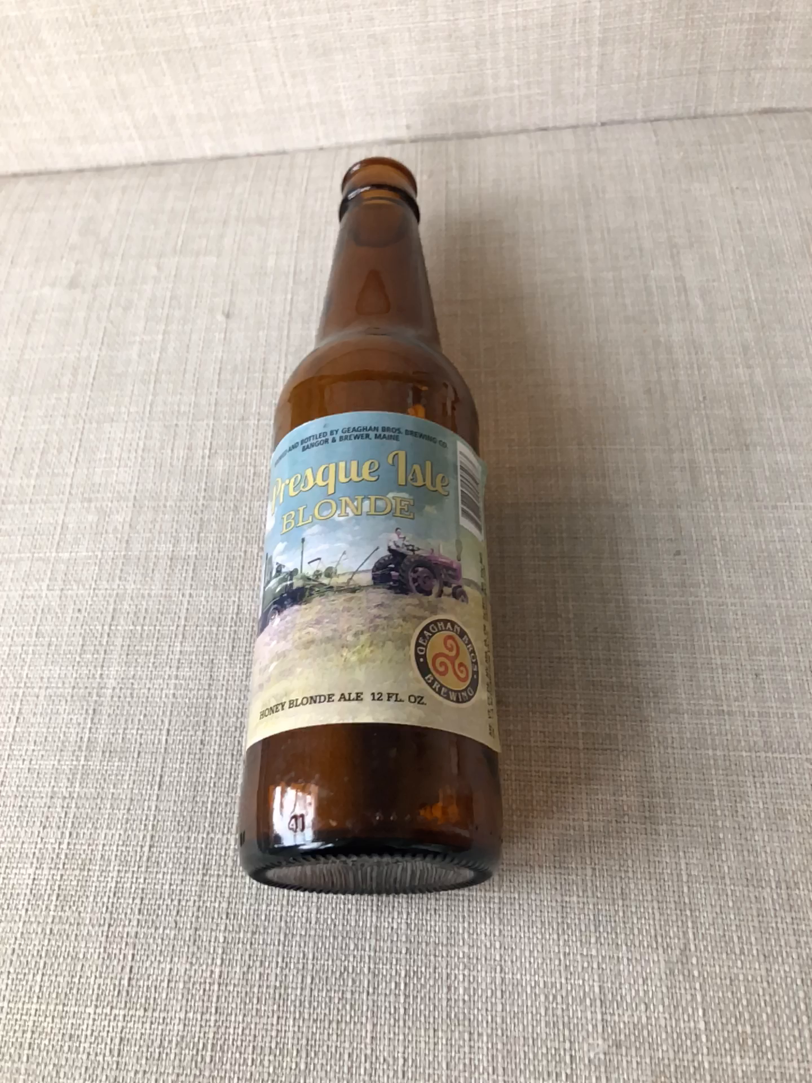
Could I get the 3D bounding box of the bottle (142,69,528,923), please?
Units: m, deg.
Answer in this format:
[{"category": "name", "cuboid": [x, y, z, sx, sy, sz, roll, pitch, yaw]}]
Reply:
[{"category": "bottle", "cuboid": [-0.011, -0.023, 0.252, 0.065, 0.060, 0.231, -9, 60, 16]}]
